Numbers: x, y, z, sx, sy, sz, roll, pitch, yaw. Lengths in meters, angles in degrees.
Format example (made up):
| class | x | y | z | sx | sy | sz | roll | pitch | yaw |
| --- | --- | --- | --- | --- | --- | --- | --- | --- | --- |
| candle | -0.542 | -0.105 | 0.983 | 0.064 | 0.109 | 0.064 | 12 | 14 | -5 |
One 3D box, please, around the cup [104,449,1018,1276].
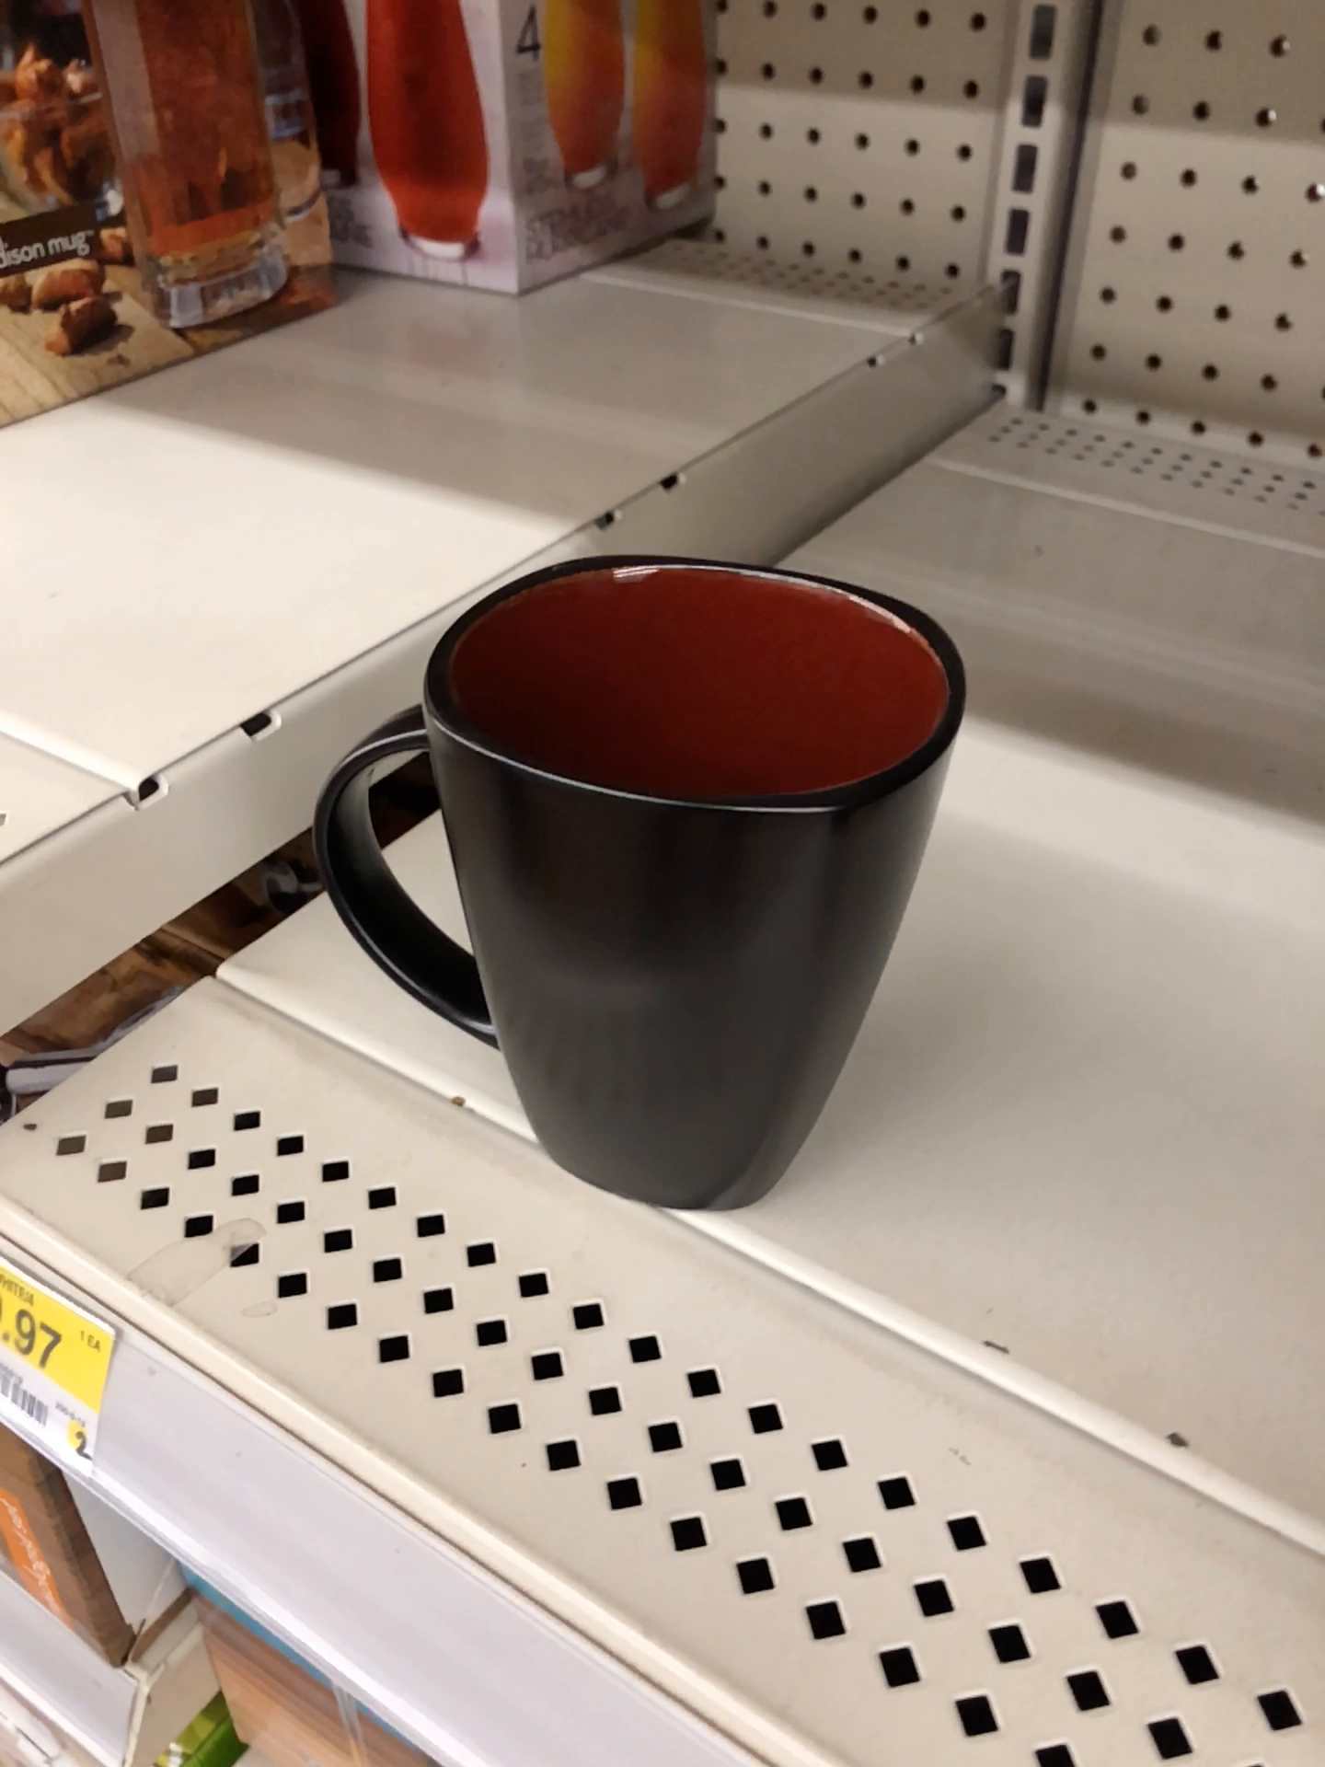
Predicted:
| class | x | y | z | sx | sy | sz | roll | pitch | yaw |
| --- | --- | --- | --- | --- | --- | --- | --- | --- | --- |
| cup | -0.013 | -0.011 | 0.282 | 0.130 | 0.100 | 0.090 | 13 | 38 | 17 |
